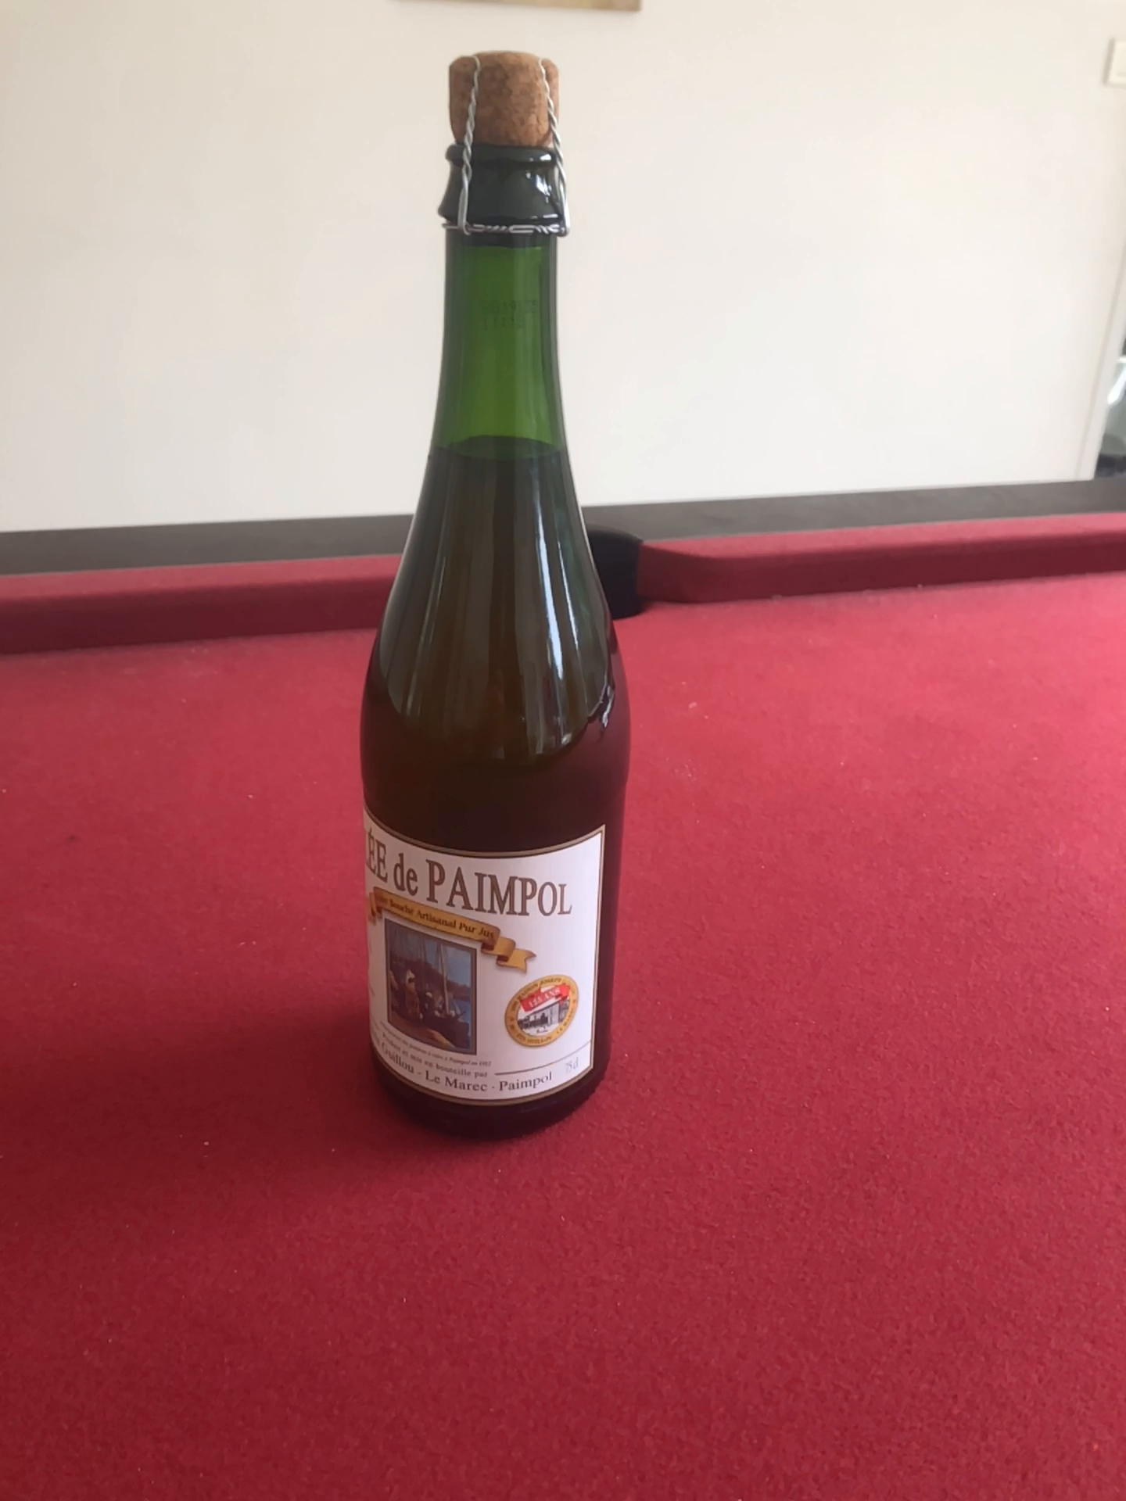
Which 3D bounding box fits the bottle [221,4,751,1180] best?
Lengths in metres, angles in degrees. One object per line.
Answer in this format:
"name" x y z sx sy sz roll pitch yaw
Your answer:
"bottle" -0.018 -0.037 0.358 0.090 0.298 0.101 12 27 20
